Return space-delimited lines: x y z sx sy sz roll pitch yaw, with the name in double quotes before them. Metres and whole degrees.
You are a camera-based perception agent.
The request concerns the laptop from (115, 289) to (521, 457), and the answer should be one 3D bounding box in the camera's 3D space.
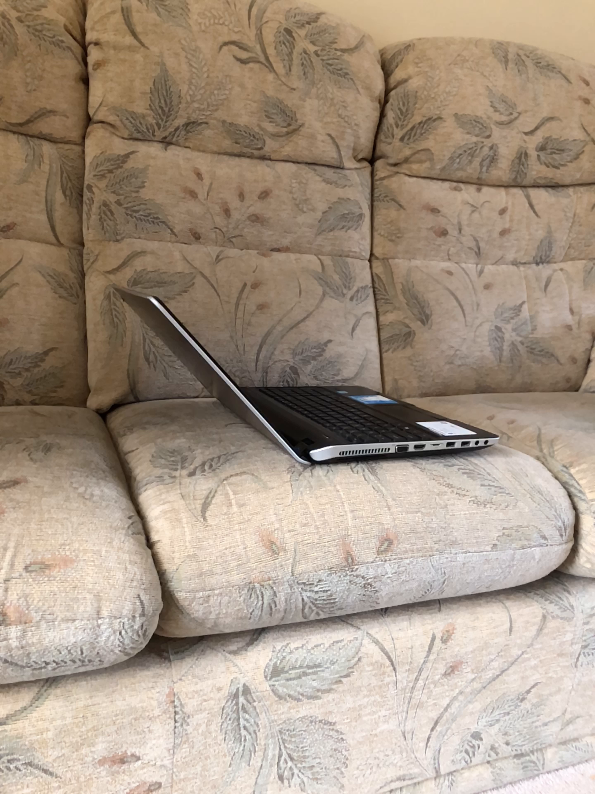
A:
"laptop" -0.011 -0.055 0.859 0.410 0.151 0.397 -2 11 -22
